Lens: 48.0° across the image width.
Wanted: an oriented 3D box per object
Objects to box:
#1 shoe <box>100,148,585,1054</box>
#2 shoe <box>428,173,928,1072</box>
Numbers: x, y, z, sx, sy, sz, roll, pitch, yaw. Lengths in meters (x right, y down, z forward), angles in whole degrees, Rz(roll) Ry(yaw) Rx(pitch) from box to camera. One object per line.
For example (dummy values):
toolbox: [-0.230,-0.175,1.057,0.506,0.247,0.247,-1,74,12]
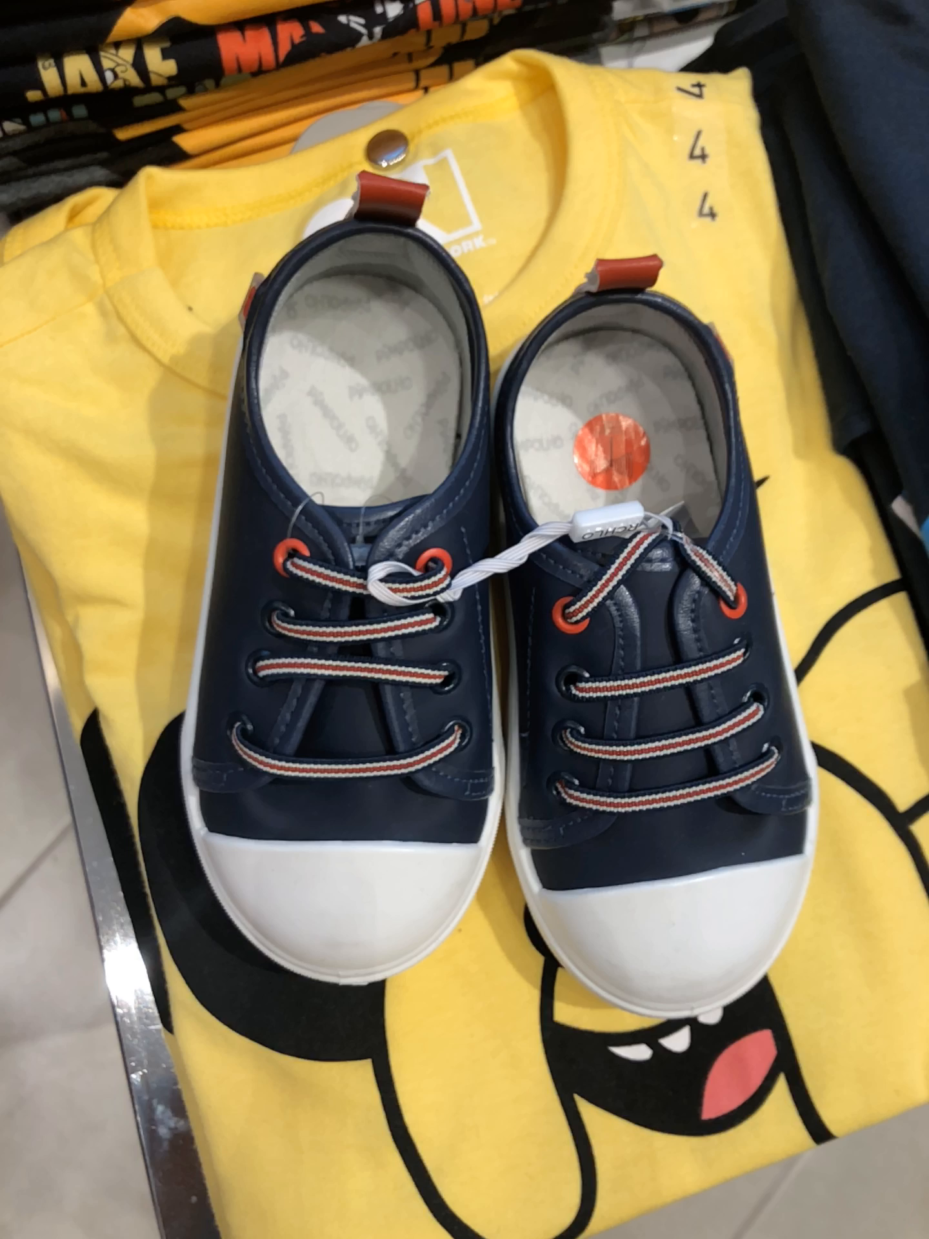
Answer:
shoe: [-0.024,-0.003,0.223,0.080,0.070,0.160,3,91,-3]
shoe: [0.043,0.000,0.242,0.080,0.070,0.170,-7,92,-5]
